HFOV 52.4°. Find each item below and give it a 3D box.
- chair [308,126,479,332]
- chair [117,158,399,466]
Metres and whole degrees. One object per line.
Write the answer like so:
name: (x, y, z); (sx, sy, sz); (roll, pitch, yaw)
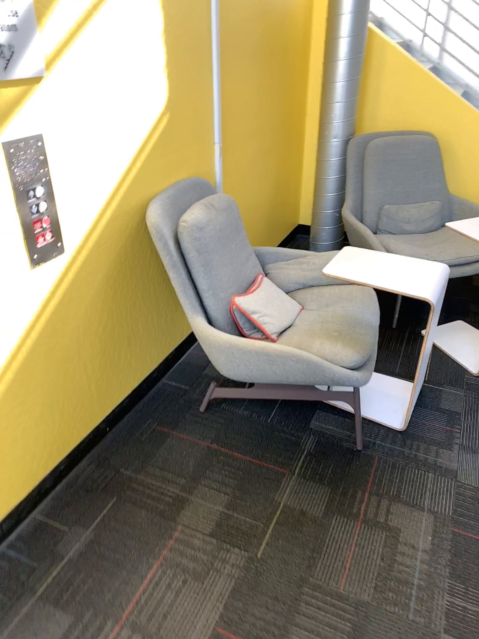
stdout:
chair: (1.045, -0.633, 3.143); (0.890, 1.014, 0.845); (-10, 29, -14)
chair: (0.151, -0.102, 2.027); (0.871, 0.925, 0.804); (6, 31, 15)
